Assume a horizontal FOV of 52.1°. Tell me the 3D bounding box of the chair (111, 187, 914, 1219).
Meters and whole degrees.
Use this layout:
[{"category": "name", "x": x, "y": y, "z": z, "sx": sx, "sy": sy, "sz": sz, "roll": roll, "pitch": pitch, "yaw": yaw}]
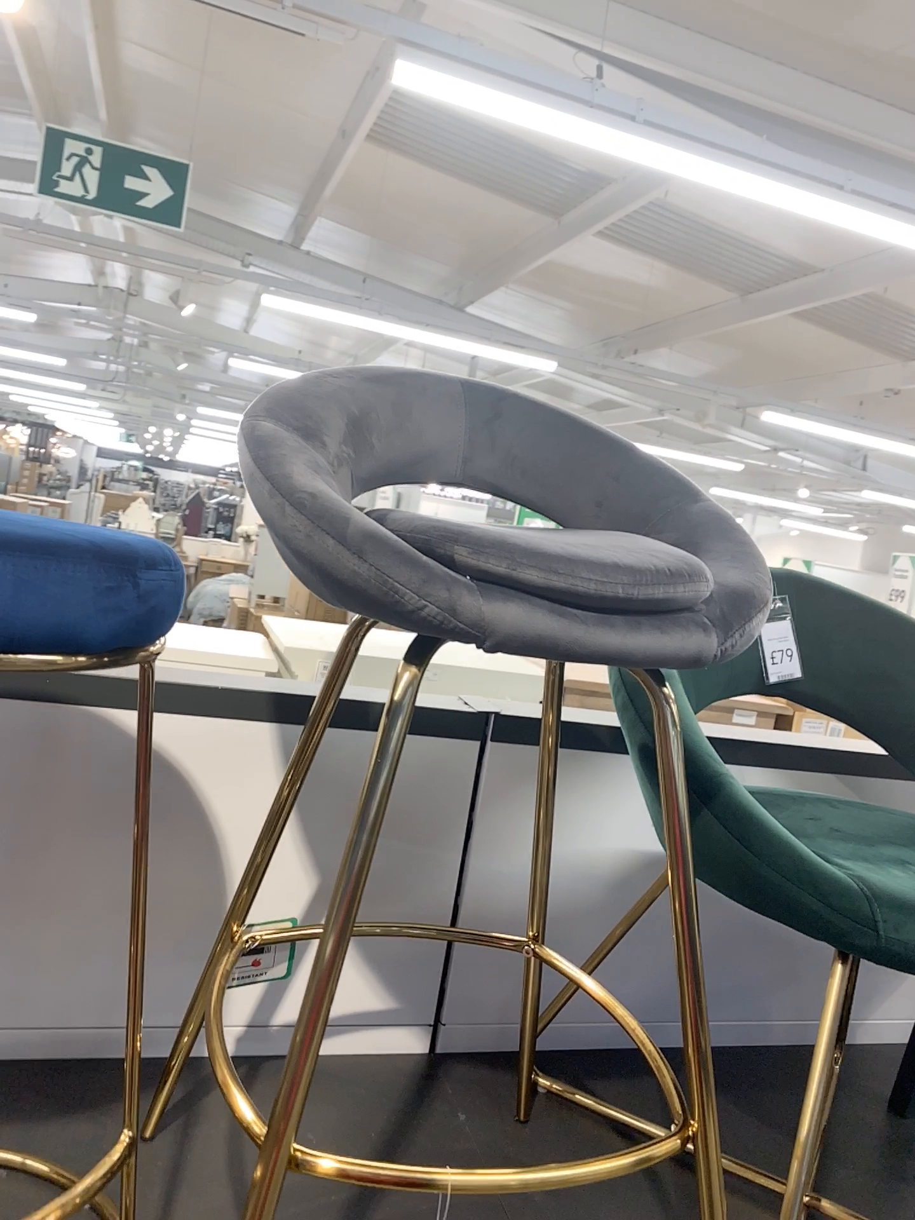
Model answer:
[{"category": "chair", "x": 0.011, "y": 0.191, "z": 0.858, "sx": 0.486, "sy": 0.873, "sz": 0.475, "roll": 8, "pitch": 4, "yaw": -19}]
